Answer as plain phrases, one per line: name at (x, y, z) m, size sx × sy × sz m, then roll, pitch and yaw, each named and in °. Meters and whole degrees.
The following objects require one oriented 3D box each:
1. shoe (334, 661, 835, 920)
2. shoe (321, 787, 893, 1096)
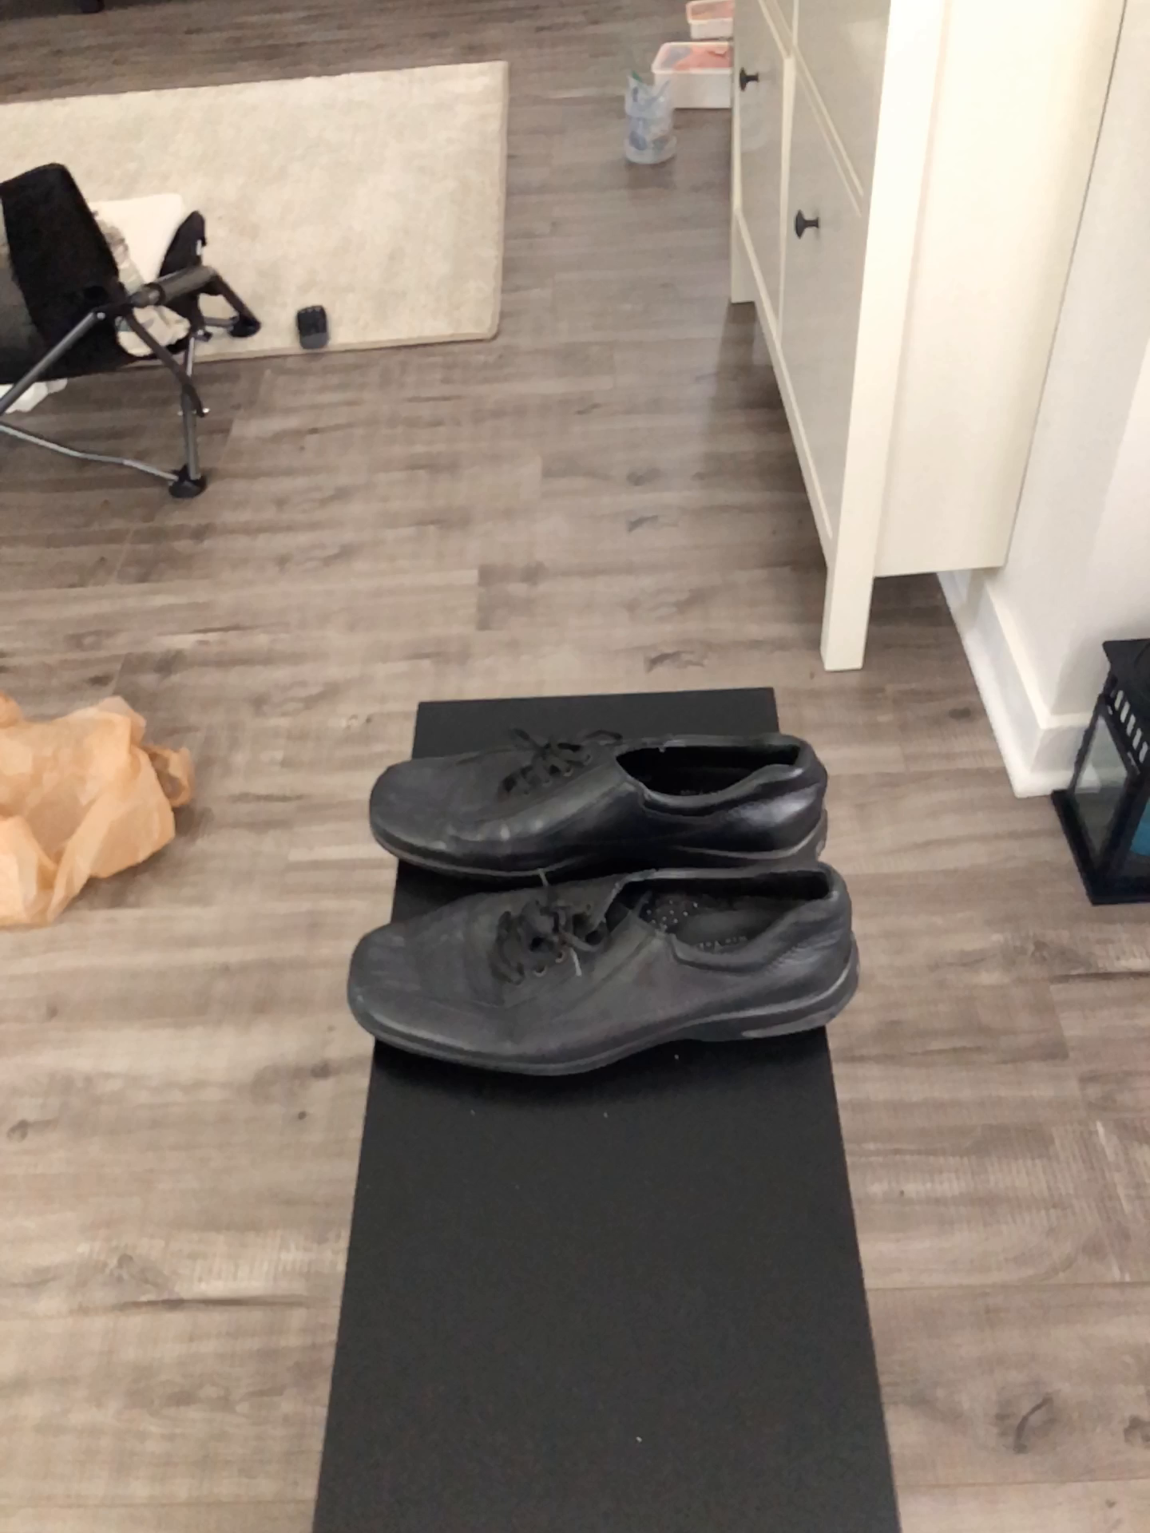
shoe at (0.012, 0.013, 0.792) m, size 0.286 × 0.110 × 0.110 m, roll 1°, pitch 47°, yaw 8°
shoe at (0.018, 0.098, 0.700) m, size 0.283 × 0.110 × 0.110 m, roll -4°, pitch 46°, yaw 3°
